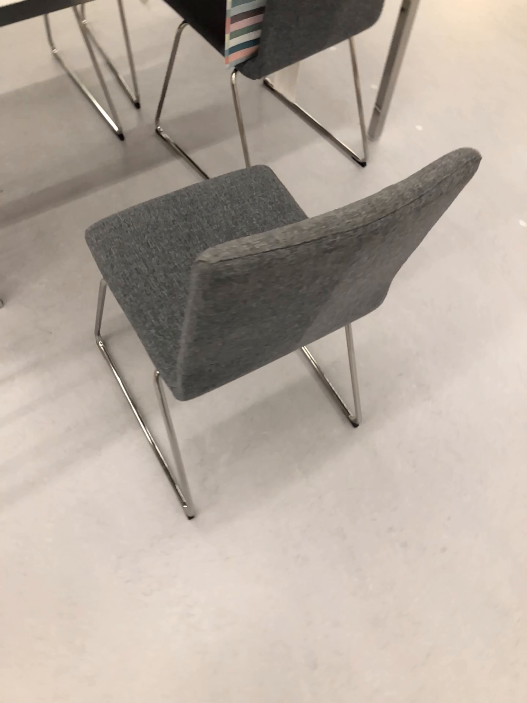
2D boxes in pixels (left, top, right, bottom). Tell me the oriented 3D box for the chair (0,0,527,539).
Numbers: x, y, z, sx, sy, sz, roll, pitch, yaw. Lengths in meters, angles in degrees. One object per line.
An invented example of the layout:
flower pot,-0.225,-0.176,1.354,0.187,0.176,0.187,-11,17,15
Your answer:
chair,-0.054,-0.132,1.085,0.511,0.837,0.592,-26,65,-18
